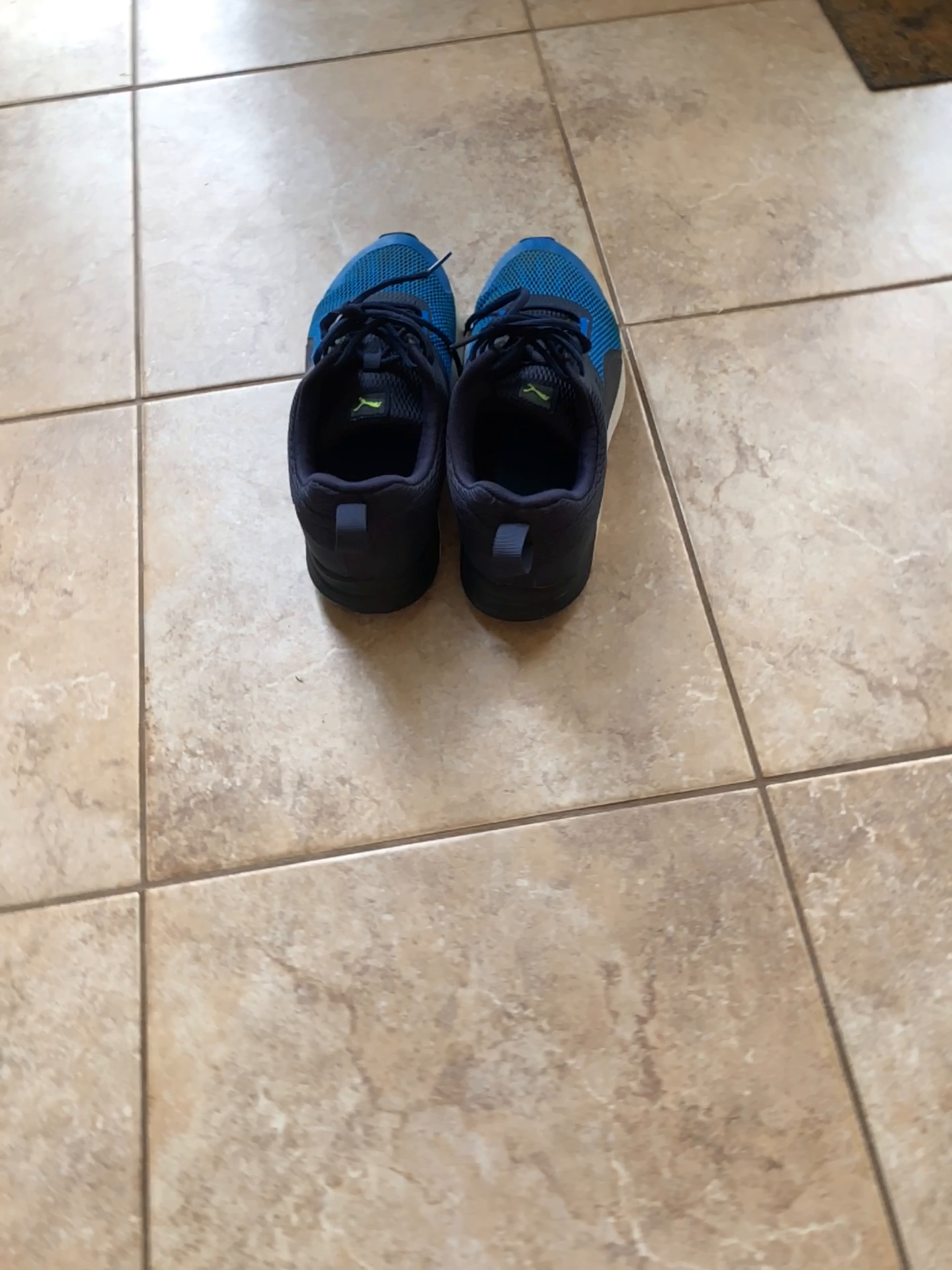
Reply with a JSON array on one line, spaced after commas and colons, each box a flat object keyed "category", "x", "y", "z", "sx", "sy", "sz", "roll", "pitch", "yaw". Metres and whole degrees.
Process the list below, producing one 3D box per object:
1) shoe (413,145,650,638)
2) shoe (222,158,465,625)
[{"category": "shoe", "x": 0.040, "y": -0.153, "z": 0.634, "sx": 0.110, "sy": 0.100, "sz": 0.291, "roll": 4, "pitch": 62, "yaw": 5}, {"category": "shoe", "x": -0.069, "y": -0.154, "z": 0.643, "sx": 0.110, "sy": 0.100, "sz": 0.281, "roll": 0, "pitch": 62, "yaw": 3}]
